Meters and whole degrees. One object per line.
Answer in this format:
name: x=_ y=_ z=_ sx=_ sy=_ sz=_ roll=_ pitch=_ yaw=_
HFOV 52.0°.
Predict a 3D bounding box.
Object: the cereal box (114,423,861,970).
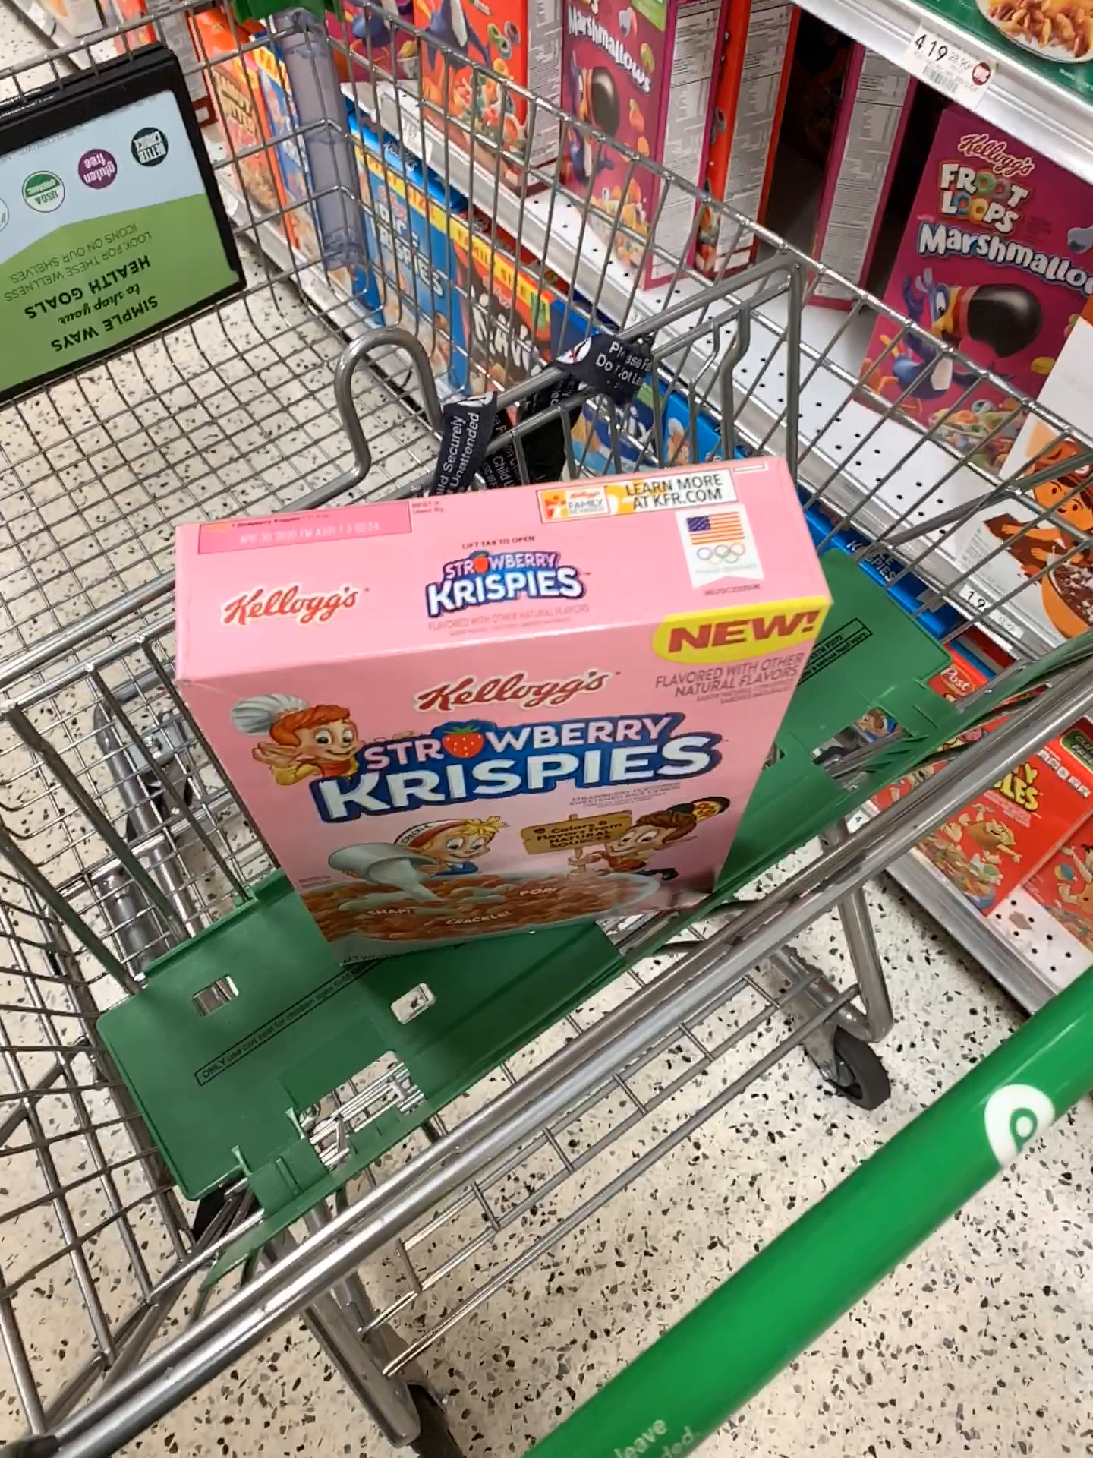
cereal box: x=-0.021 y=0.013 z=0.459 sx=0.210 sy=0.298 sz=0.060 roll=-8 pitch=63 yaw=-5
